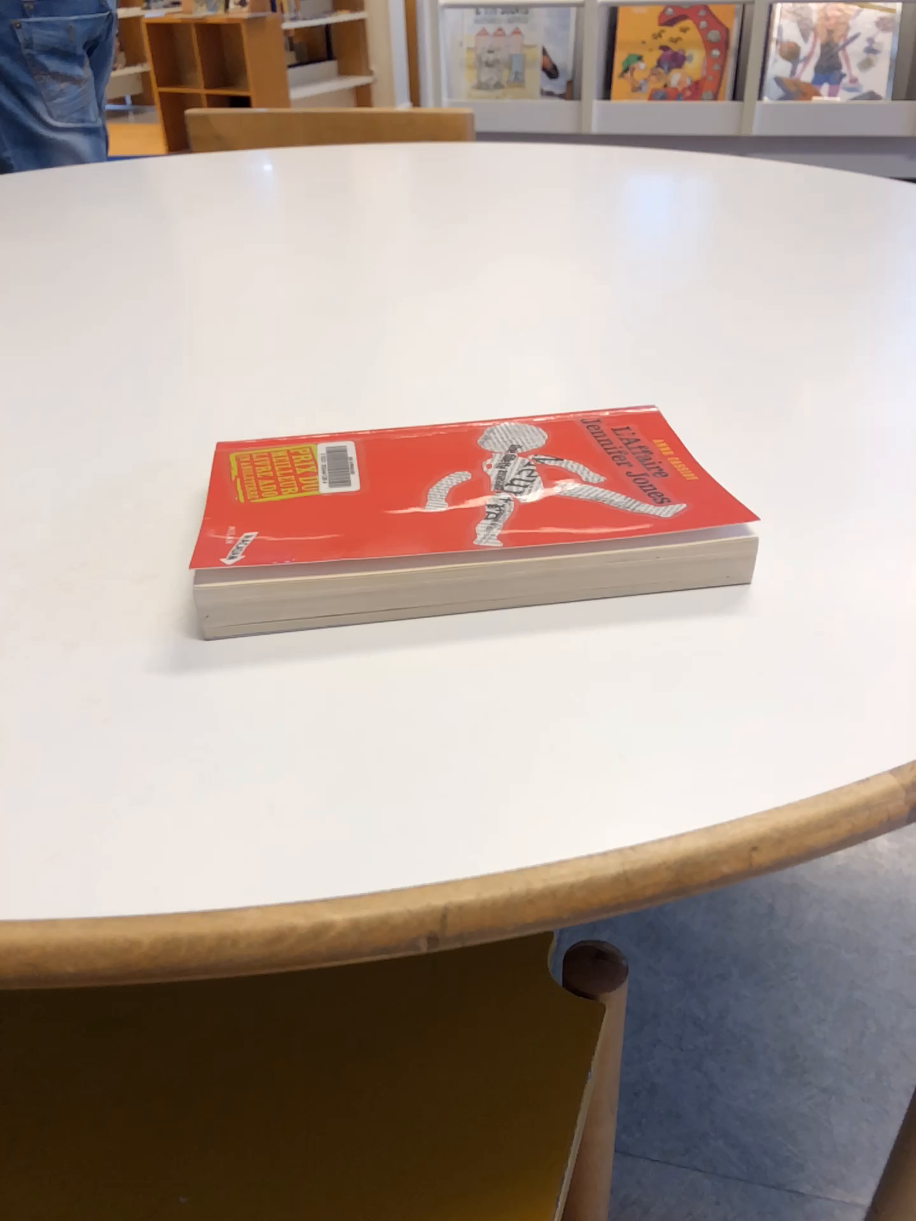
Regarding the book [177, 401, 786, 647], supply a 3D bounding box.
[{"bbox_3d":[0.003,-0.042,0.398,0.203,0.027,0.137,-5,29,-6],"label":"book"}]
